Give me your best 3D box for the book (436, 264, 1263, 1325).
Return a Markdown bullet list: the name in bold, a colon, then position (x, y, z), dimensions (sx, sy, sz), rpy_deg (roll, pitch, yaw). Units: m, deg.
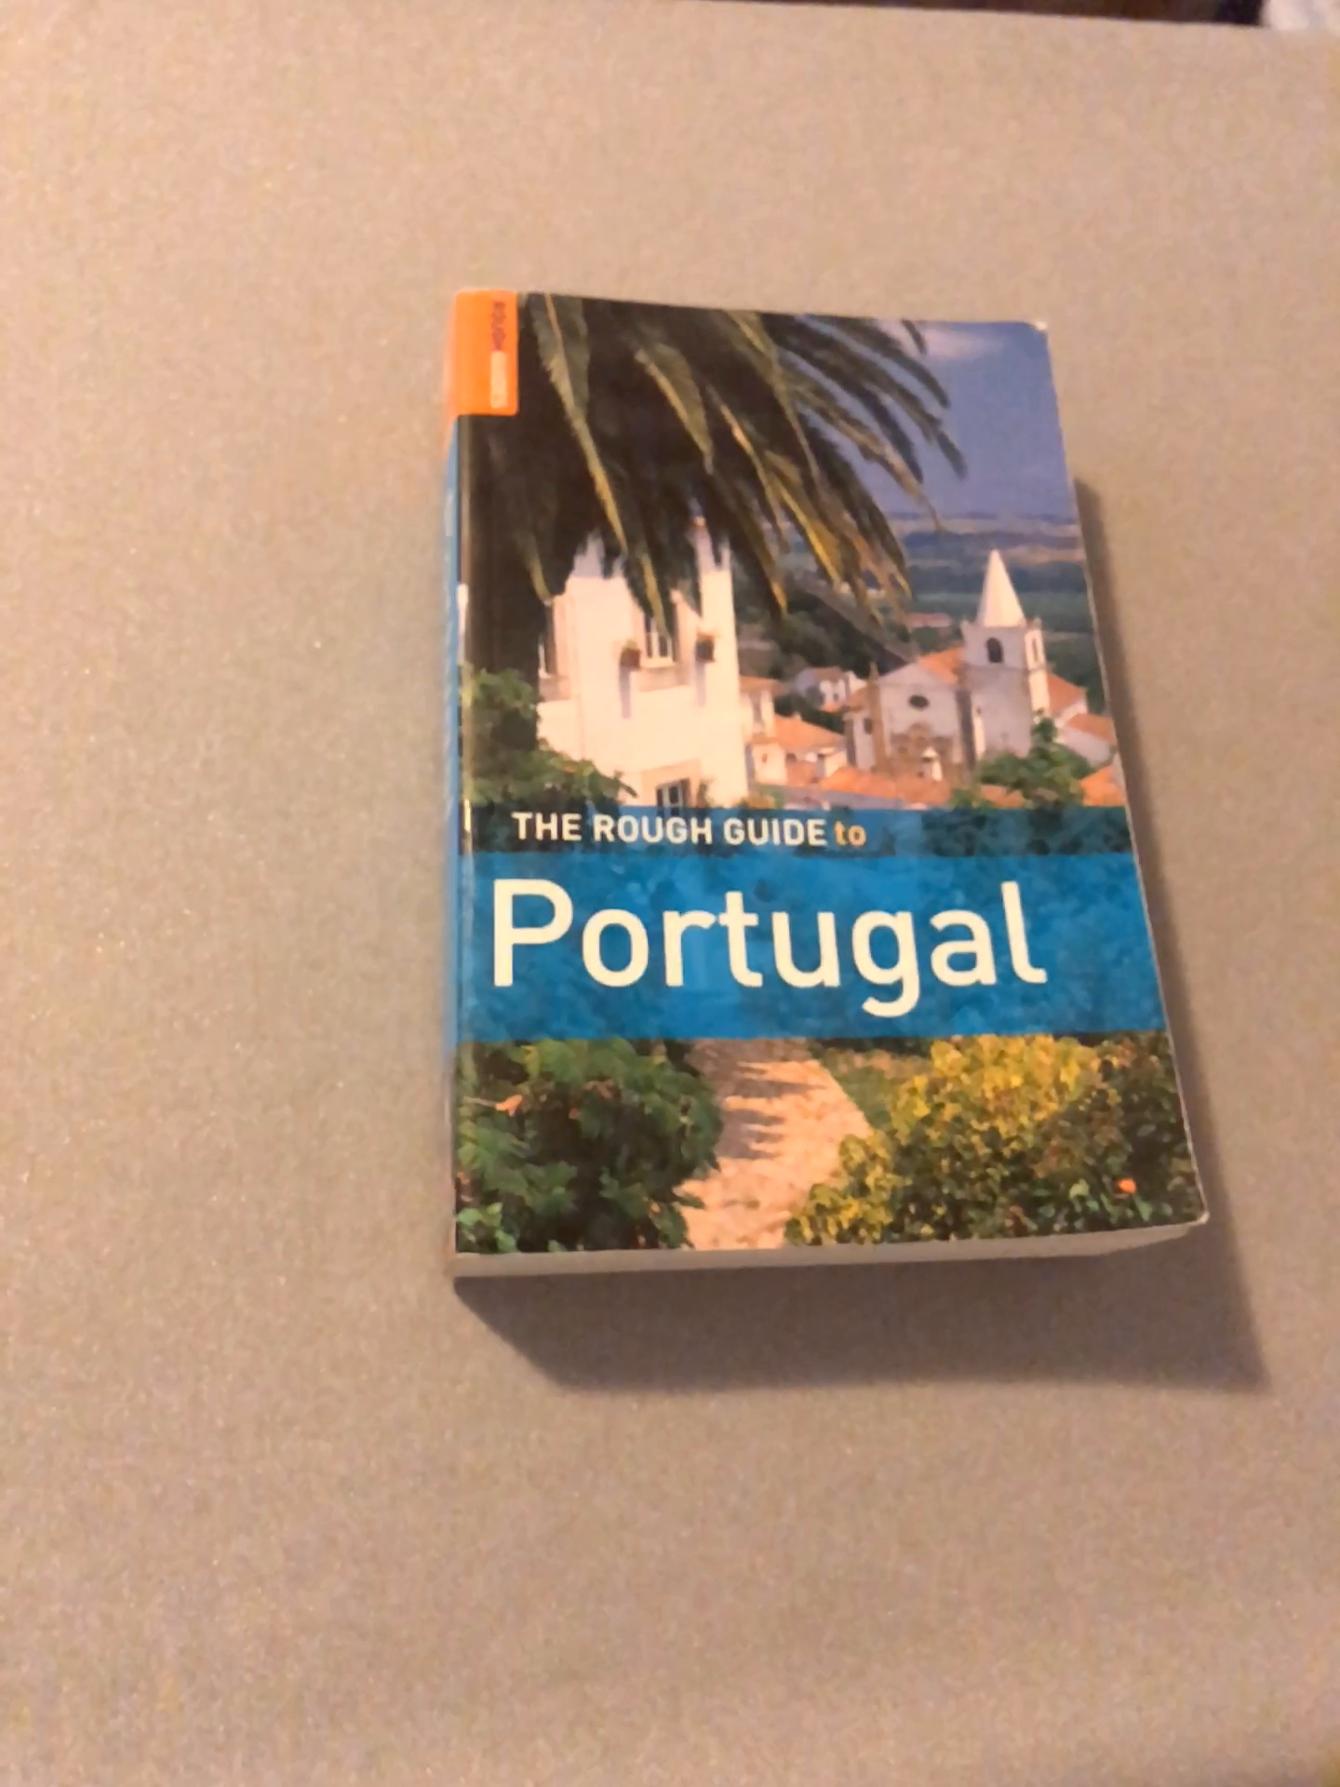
- **book**: position (0.024, -0.025, 0.299), dimensions (0.139, 0.040, 0.204), rpy_deg (0, 69, -9)
